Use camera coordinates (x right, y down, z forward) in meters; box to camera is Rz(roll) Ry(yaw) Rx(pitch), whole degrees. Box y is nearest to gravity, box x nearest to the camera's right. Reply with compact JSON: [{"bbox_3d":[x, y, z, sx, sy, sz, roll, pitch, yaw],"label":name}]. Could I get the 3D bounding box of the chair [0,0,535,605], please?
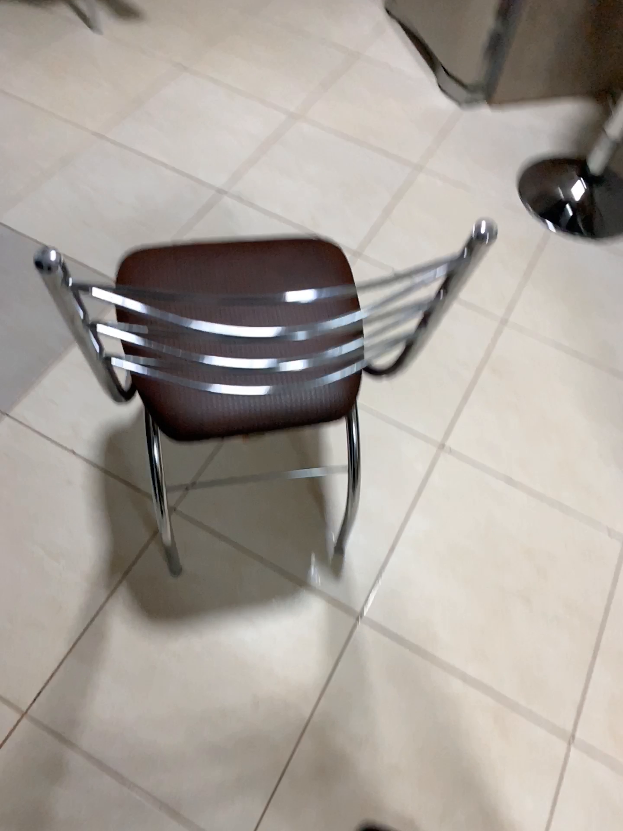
[{"bbox_3d":[-0.099,-0.094,0.984,0.418,0.873,0.486,-6,60,-9],"label":"chair"}]
